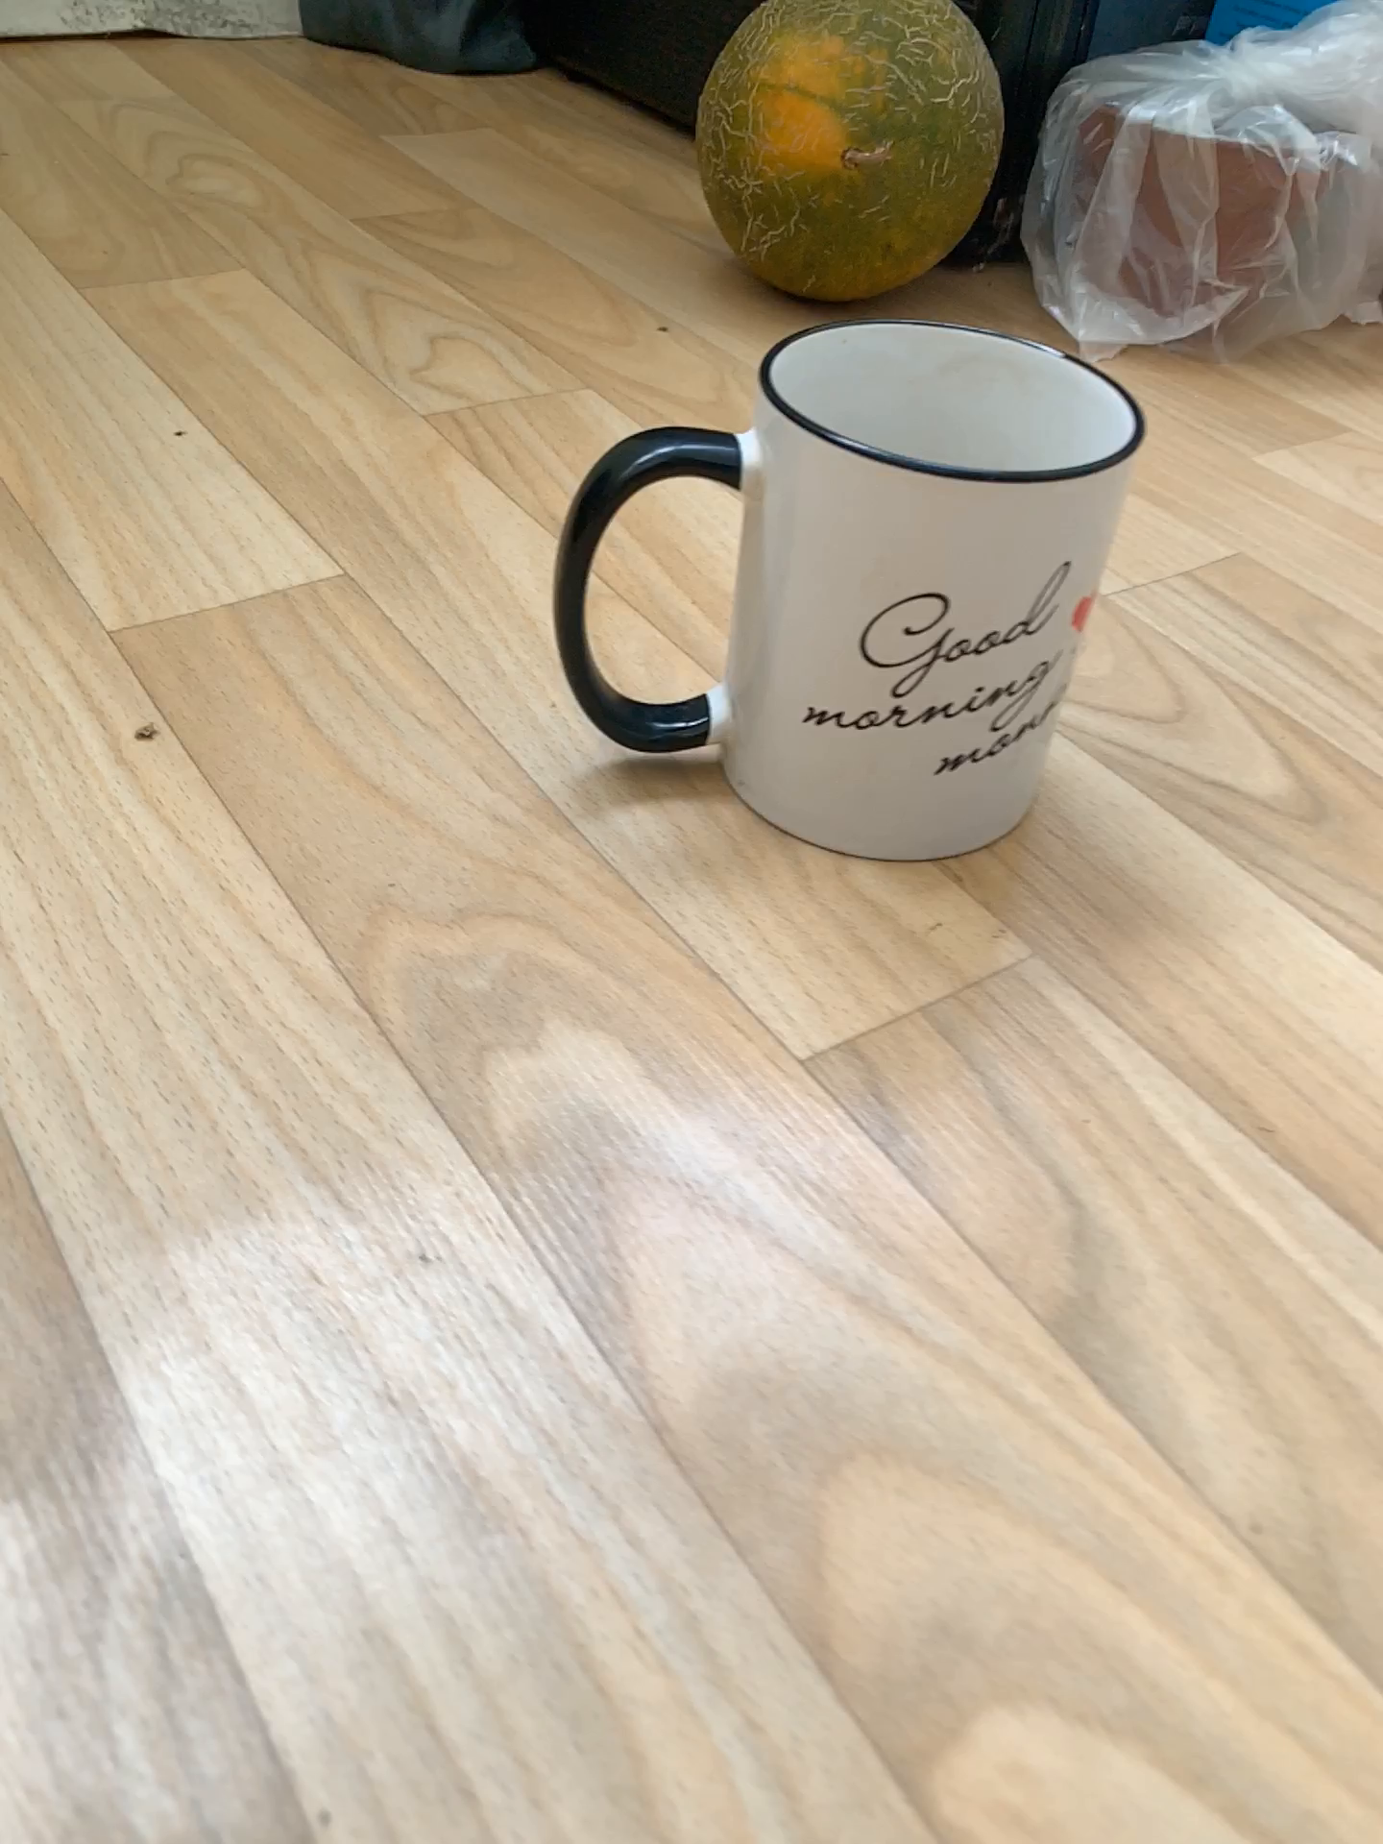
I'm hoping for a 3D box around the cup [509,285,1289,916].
[{"bbox_3d":[0.035,-0.074,0.312,0.130,0.100,0.080,-9,44,-18],"label":"cup"}]
